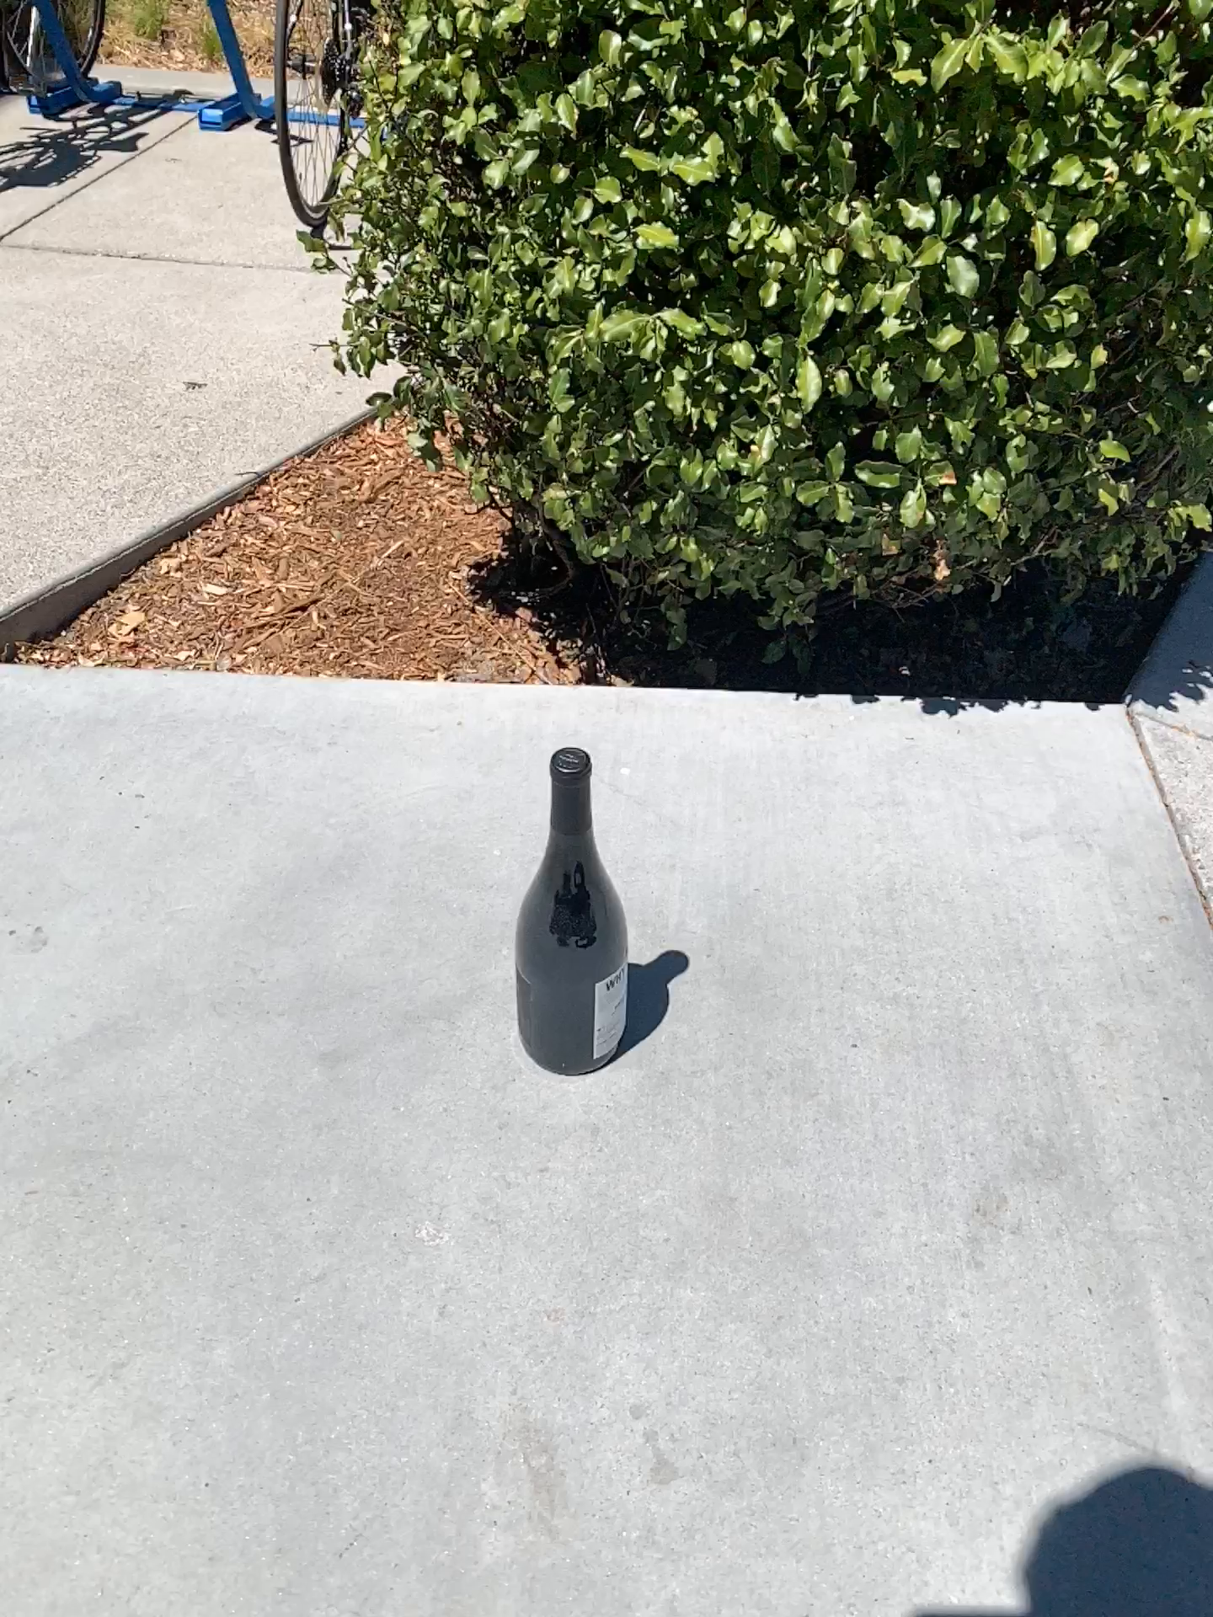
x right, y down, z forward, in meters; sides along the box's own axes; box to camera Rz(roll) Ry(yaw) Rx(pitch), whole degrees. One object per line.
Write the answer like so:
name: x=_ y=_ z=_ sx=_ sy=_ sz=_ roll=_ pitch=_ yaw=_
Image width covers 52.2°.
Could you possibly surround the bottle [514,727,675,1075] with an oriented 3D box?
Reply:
bottle: x=-0.016 y=0.072 z=0.889 sx=0.090 sy=0.259 sz=0.091 roll=3 pitch=40 yaw=-3
